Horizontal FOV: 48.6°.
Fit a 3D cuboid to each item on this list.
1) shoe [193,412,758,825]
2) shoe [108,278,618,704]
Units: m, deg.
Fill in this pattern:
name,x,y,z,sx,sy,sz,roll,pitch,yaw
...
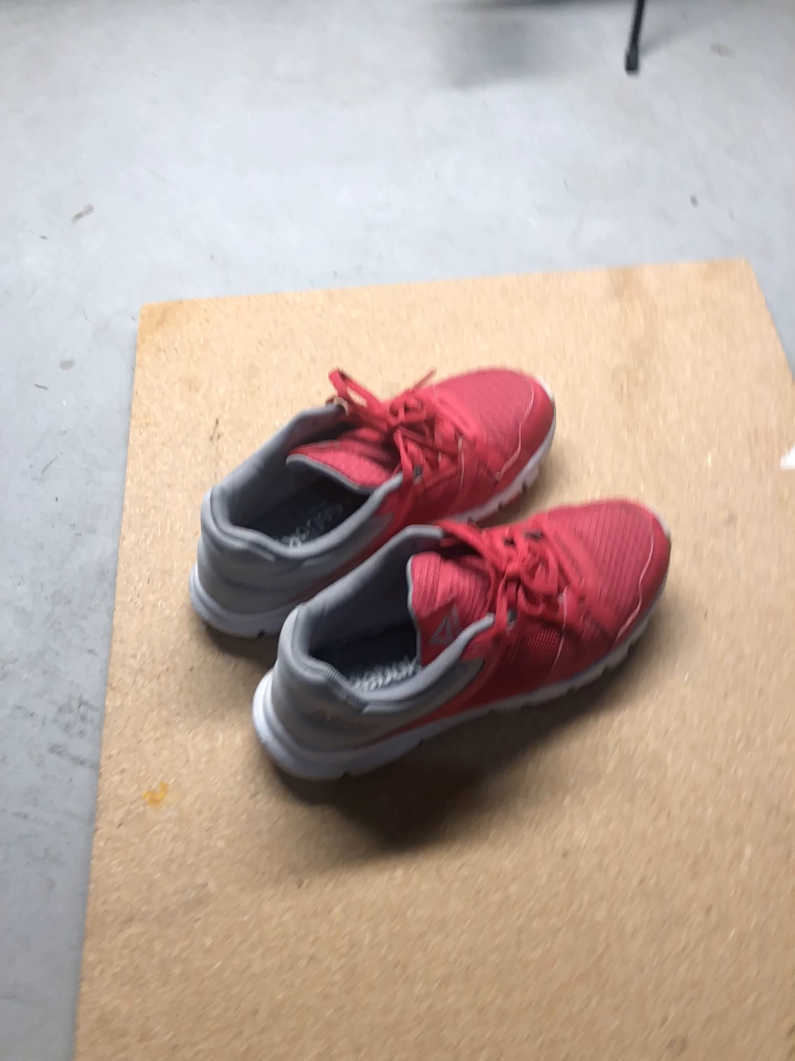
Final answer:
name,x,y,z,sx,sy,sz,roll,pitch,yaw
shoe,0.041,0.047,0.490,0.270,0.100,0.100,-22,62,-11
shoe,-0.015,-0.028,0.537,0.270,0.100,0.110,-31,64,-15
